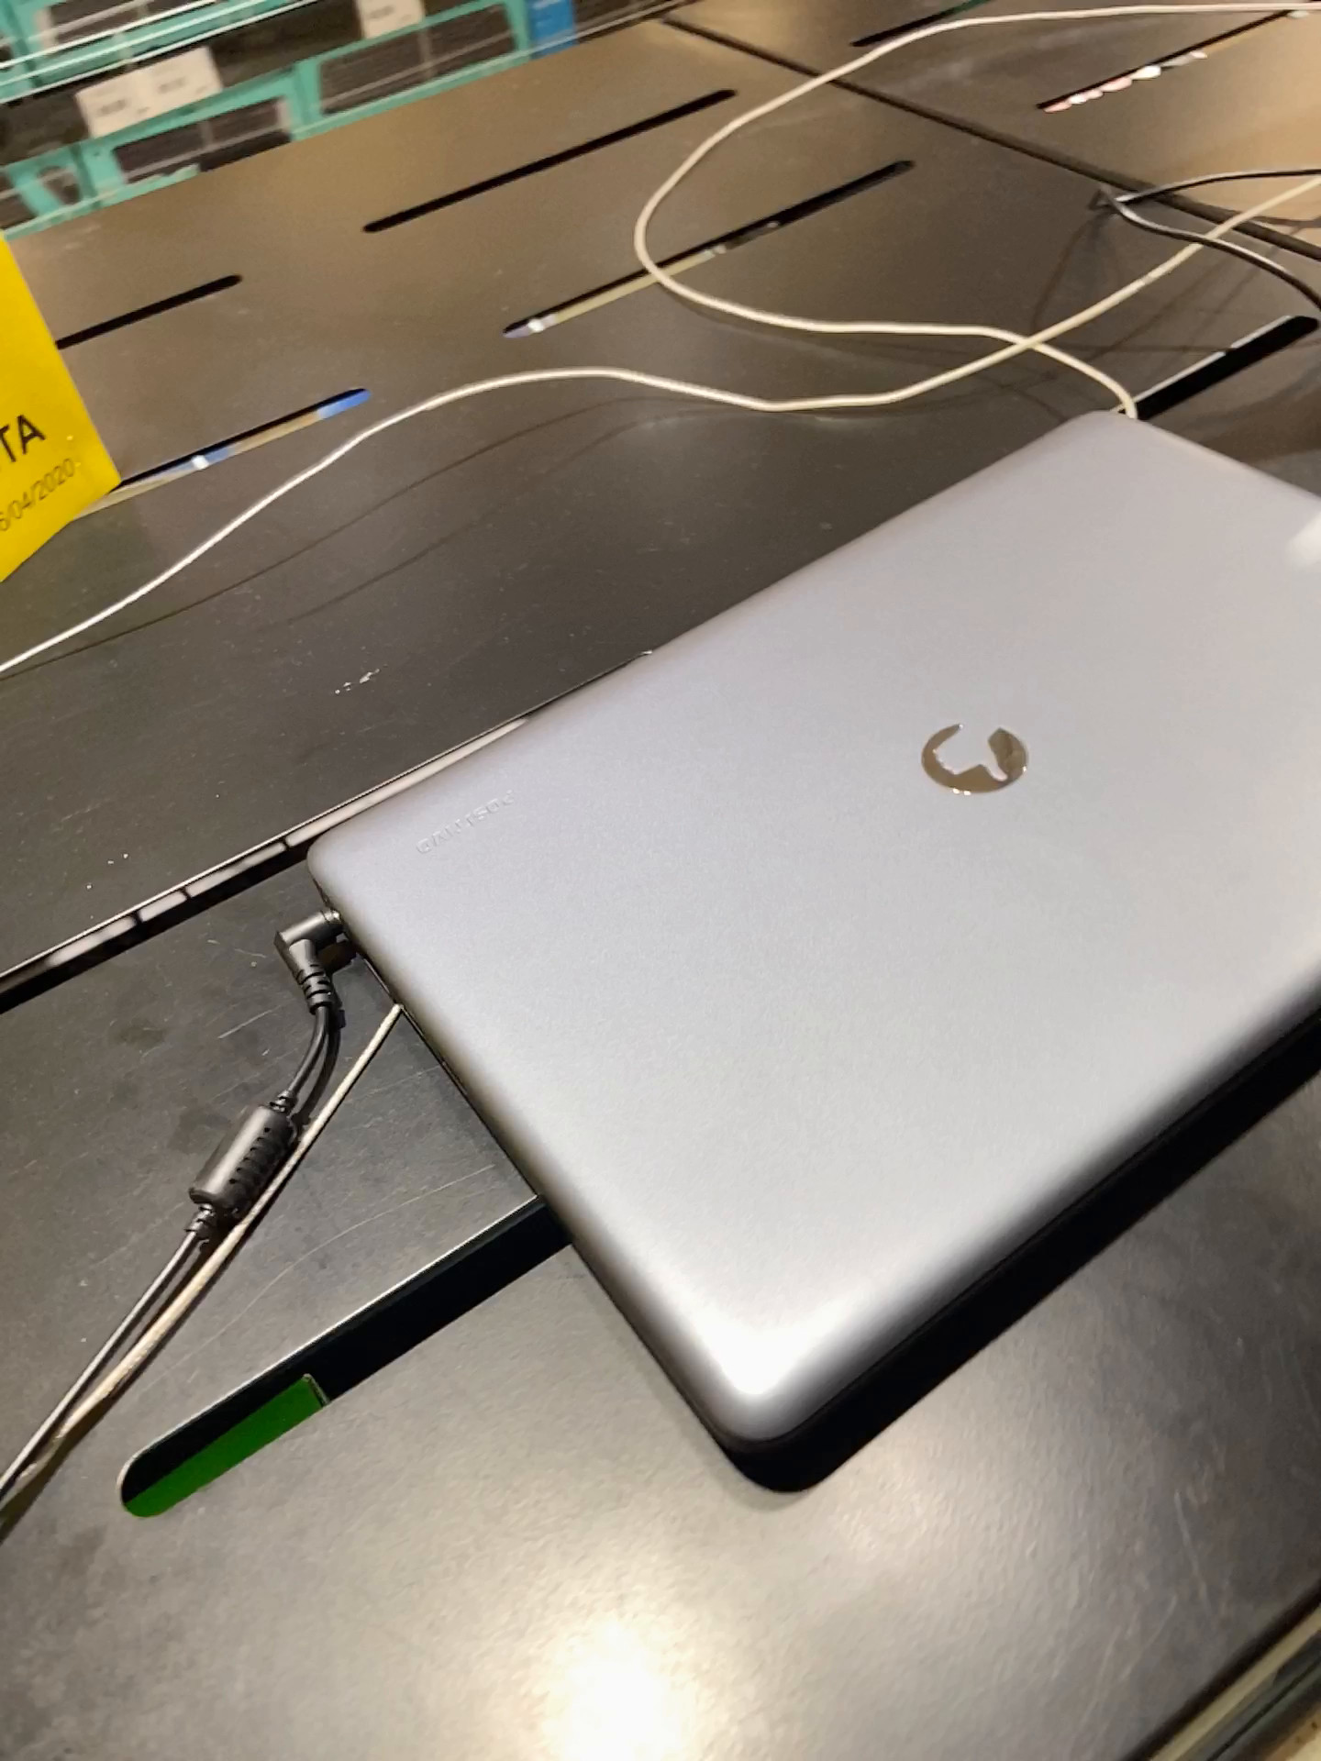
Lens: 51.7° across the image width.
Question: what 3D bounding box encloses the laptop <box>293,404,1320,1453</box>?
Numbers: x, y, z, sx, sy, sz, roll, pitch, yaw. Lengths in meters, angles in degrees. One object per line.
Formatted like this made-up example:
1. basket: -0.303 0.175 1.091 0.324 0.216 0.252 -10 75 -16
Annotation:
1. laptop: 0.087 -0.031 0.379 0.330 0.001 0.213 -32 50 -18
